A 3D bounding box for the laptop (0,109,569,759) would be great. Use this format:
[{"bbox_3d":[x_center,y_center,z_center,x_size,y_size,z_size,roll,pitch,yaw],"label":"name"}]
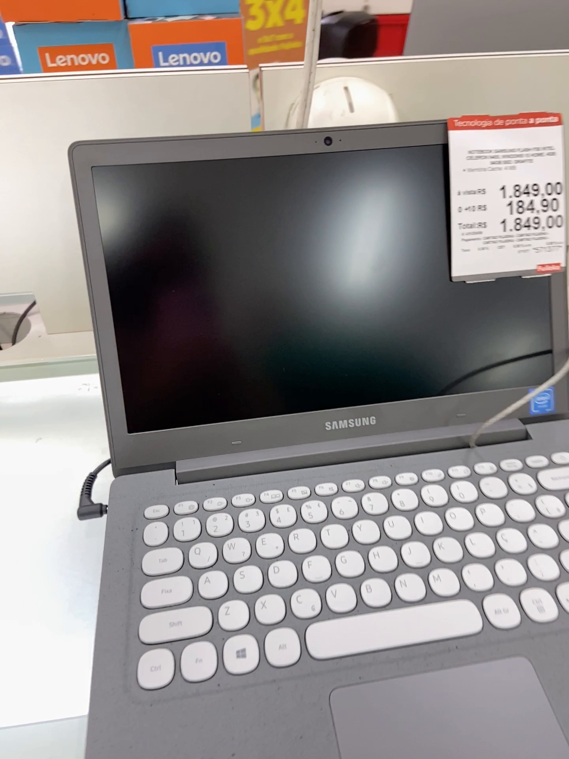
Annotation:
[{"bbox_3d":[0.055,0.013,0.305,0.324,0.172,0.342,-7,41,-6],"label":"laptop"}]
